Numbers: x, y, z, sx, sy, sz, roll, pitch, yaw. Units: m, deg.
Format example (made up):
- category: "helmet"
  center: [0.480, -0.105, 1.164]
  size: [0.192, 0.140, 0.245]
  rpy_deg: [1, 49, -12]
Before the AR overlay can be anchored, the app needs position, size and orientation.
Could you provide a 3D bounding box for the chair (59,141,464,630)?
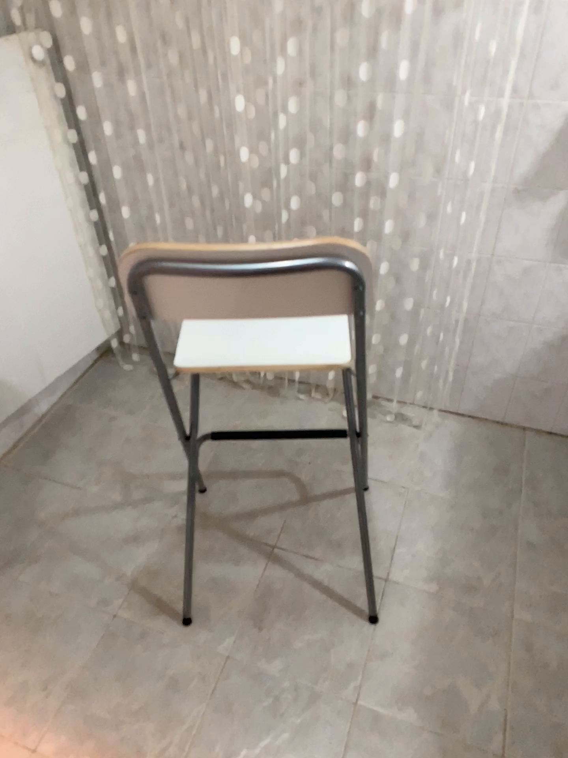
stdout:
- category: "chair"
  center: [-0.020, 0.079, 1.262]
  size: [0.537, 1.008, 0.468]
  rpy_deg: [-1, 40, 1]
